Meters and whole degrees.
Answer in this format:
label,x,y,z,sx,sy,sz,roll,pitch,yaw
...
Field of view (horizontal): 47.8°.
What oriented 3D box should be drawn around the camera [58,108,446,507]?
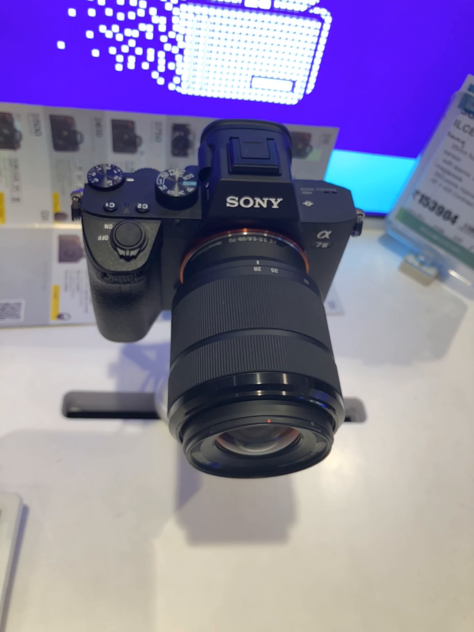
label,x,y,z,sx,sy,sz,roll,pitch,yaw
camera,-0.010,-0.005,0.239,0.120,0.109,0.128,-2,51,-14
